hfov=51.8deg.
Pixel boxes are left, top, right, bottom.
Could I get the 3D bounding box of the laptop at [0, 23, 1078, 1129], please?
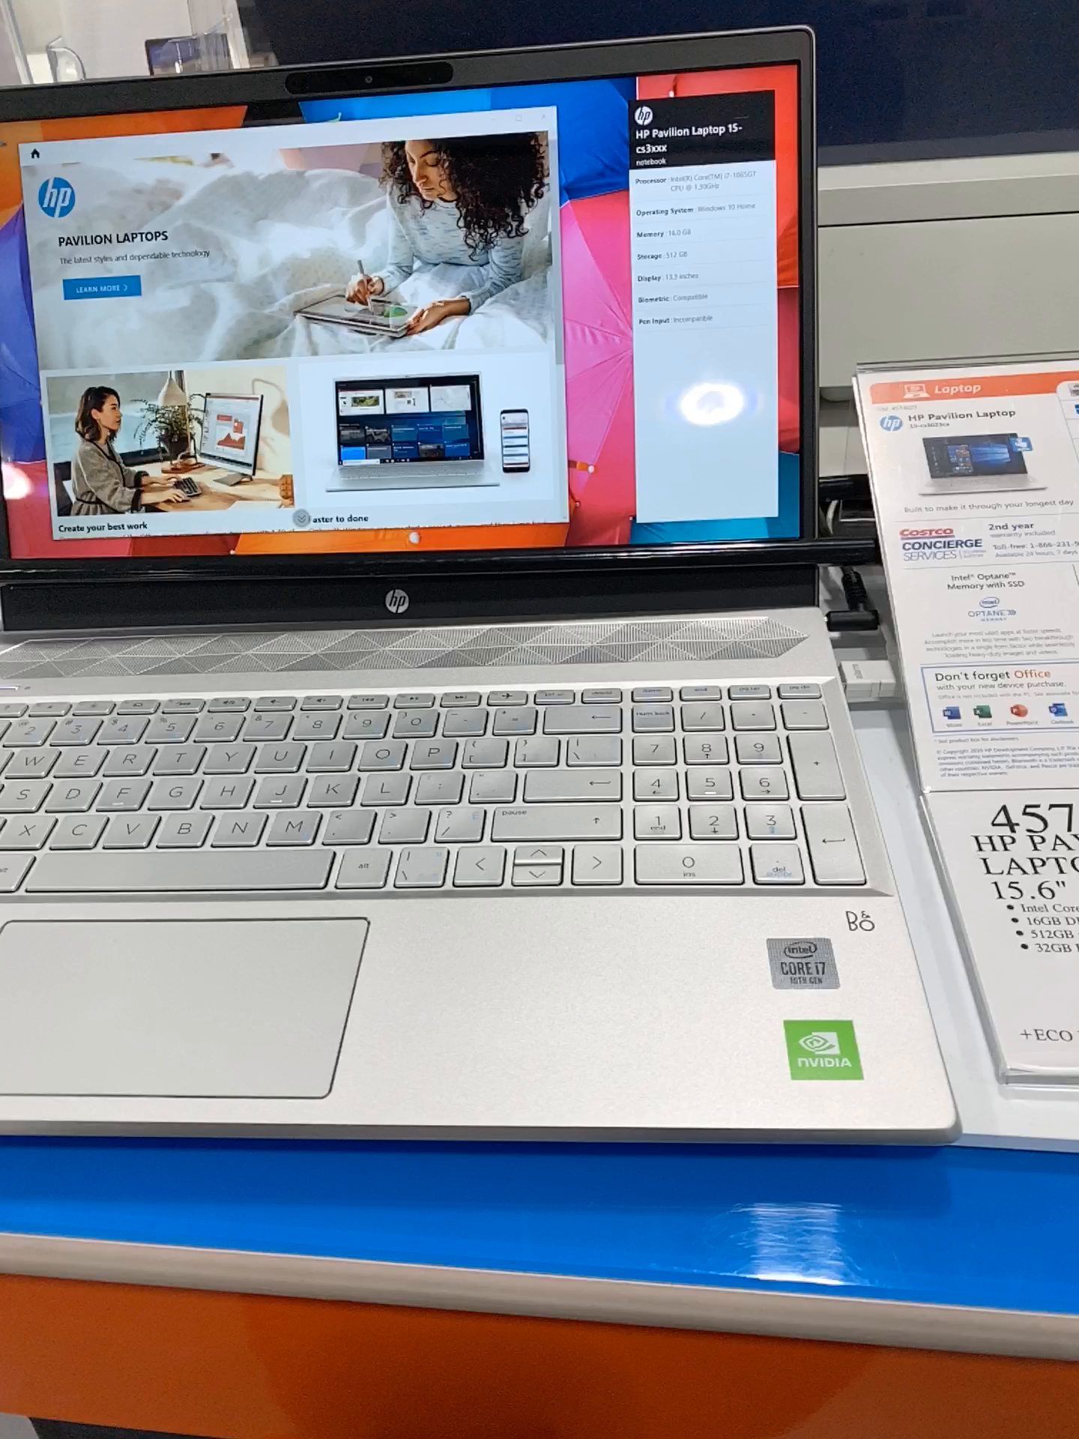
[{"bbox_3d":[-0.065,-0.078,0.344,0.332,0.175,0.335,-2,38,5],"label":"laptop"}]
